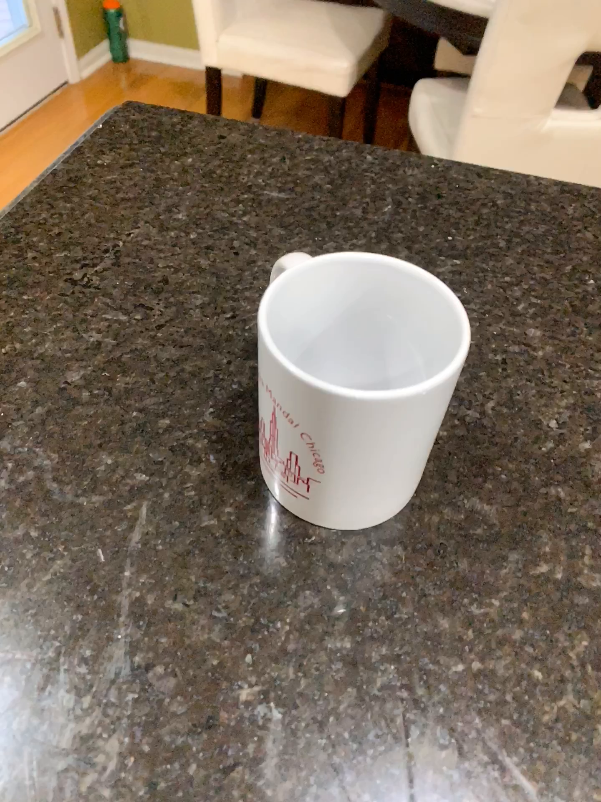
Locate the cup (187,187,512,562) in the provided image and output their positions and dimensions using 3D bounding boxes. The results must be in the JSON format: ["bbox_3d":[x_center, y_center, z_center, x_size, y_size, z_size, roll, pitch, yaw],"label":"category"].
[{"bbox_3d":[0.012,-0.016,0.285,0.081,0.097,0.124,-19,52,-19],"label":"cup"}]
